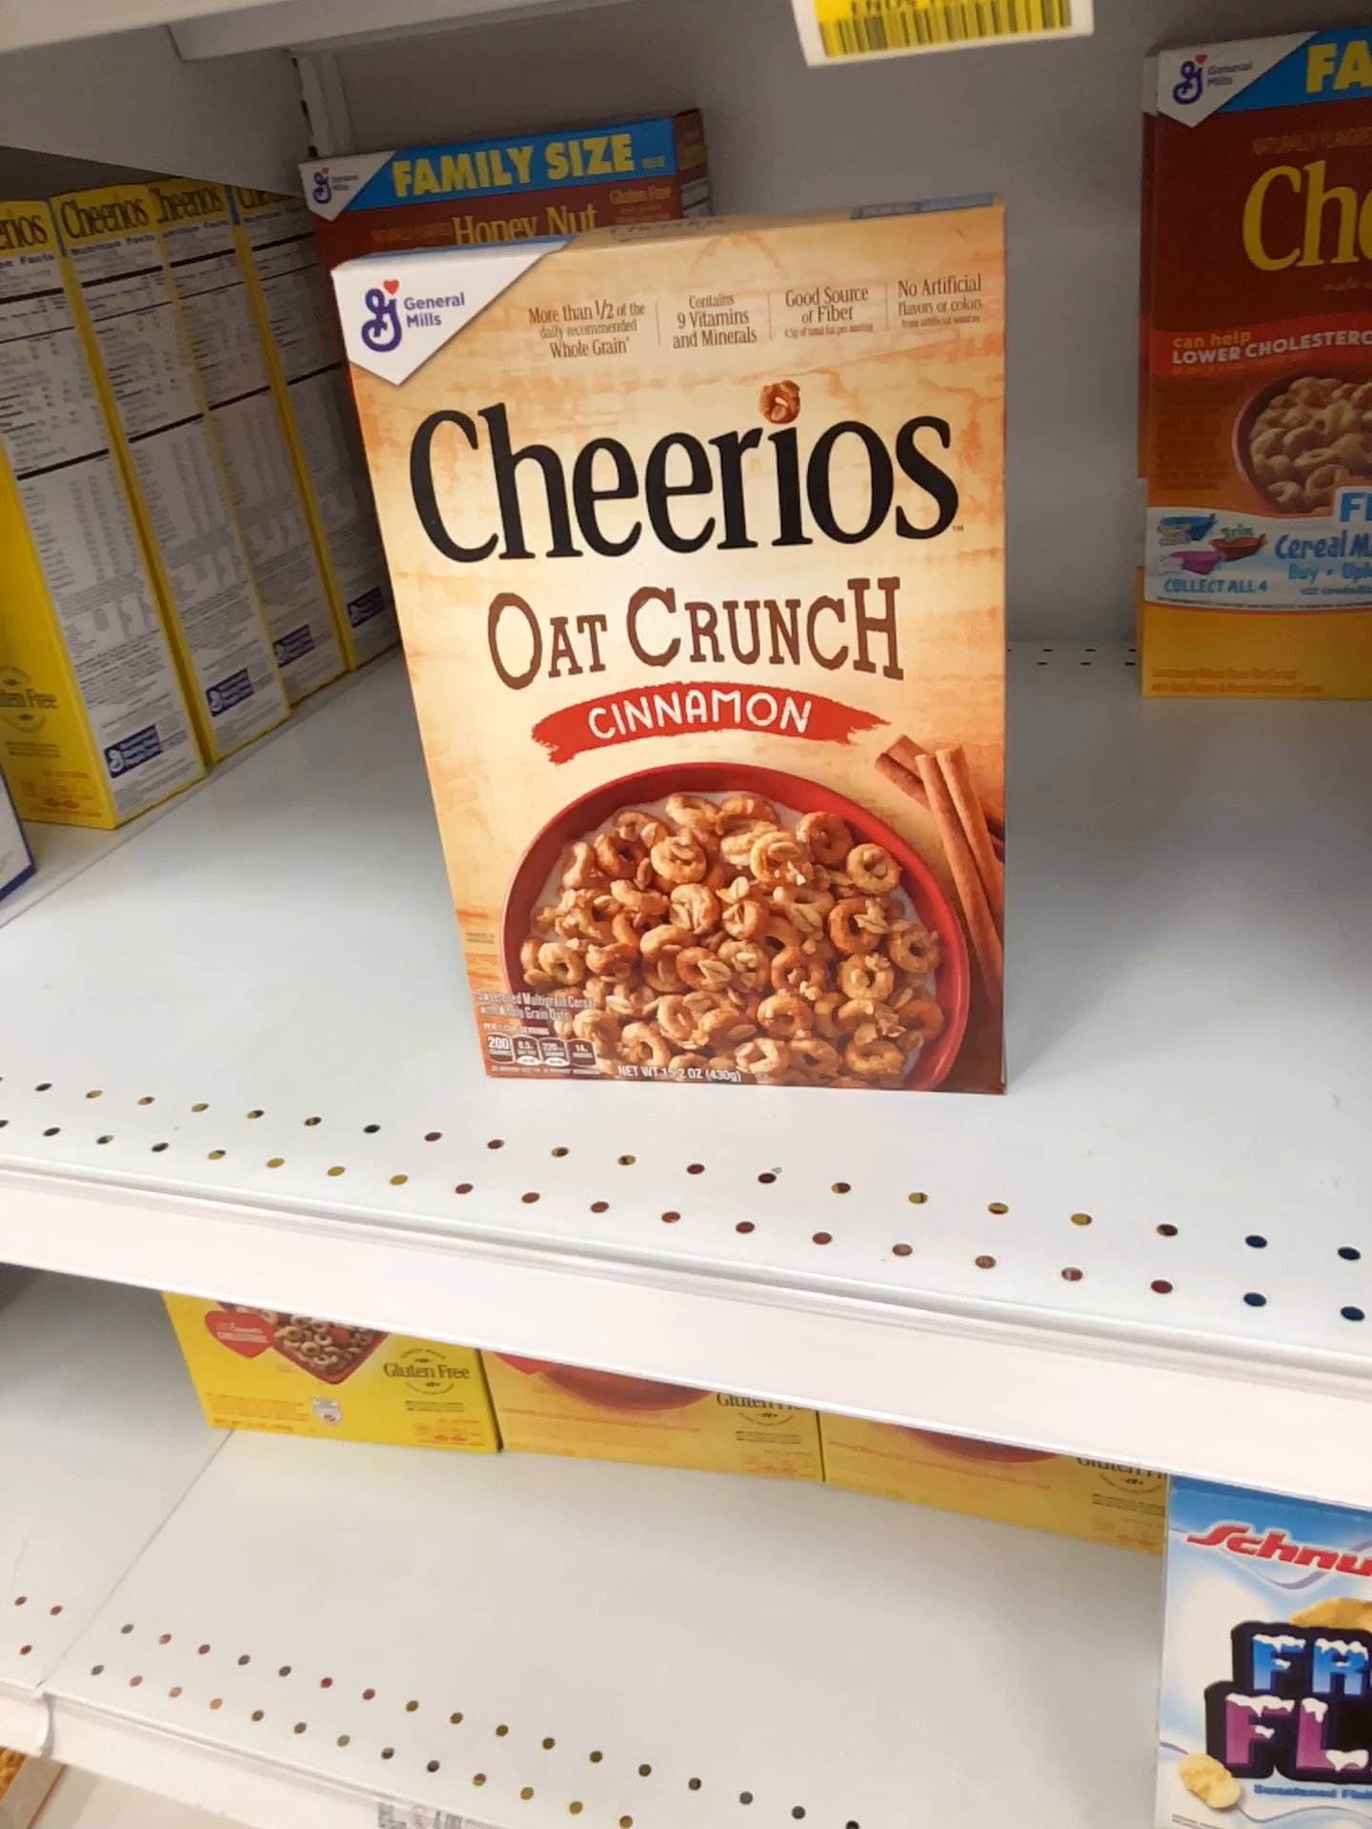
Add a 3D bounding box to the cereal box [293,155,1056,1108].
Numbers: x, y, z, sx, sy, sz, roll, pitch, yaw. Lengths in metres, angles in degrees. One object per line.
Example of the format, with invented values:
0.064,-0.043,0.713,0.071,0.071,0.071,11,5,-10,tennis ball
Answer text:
0.013,-0.070,0.477,0.200,0.279,0.050,0,31,15,cereal box
